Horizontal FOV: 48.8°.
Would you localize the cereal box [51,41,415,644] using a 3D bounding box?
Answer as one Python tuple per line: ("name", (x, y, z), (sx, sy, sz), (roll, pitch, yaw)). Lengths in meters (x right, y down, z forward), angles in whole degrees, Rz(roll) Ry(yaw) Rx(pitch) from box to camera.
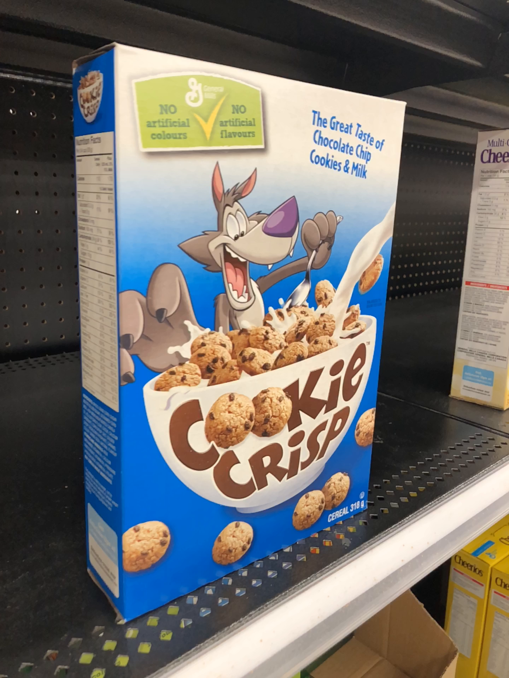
("cereal box", (-0.003, -0.001, 0.336), (0.200, 0.279, 0.060), (-9, 17, -38))
